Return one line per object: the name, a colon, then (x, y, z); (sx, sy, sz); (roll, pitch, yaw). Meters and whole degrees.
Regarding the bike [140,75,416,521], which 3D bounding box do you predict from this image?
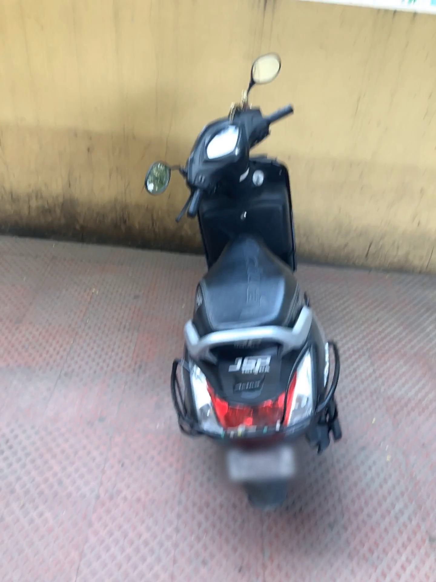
bike: (0.042, -0.124, 1.952); (0.592, 1.043, 1.595); (2, 36, -6)
